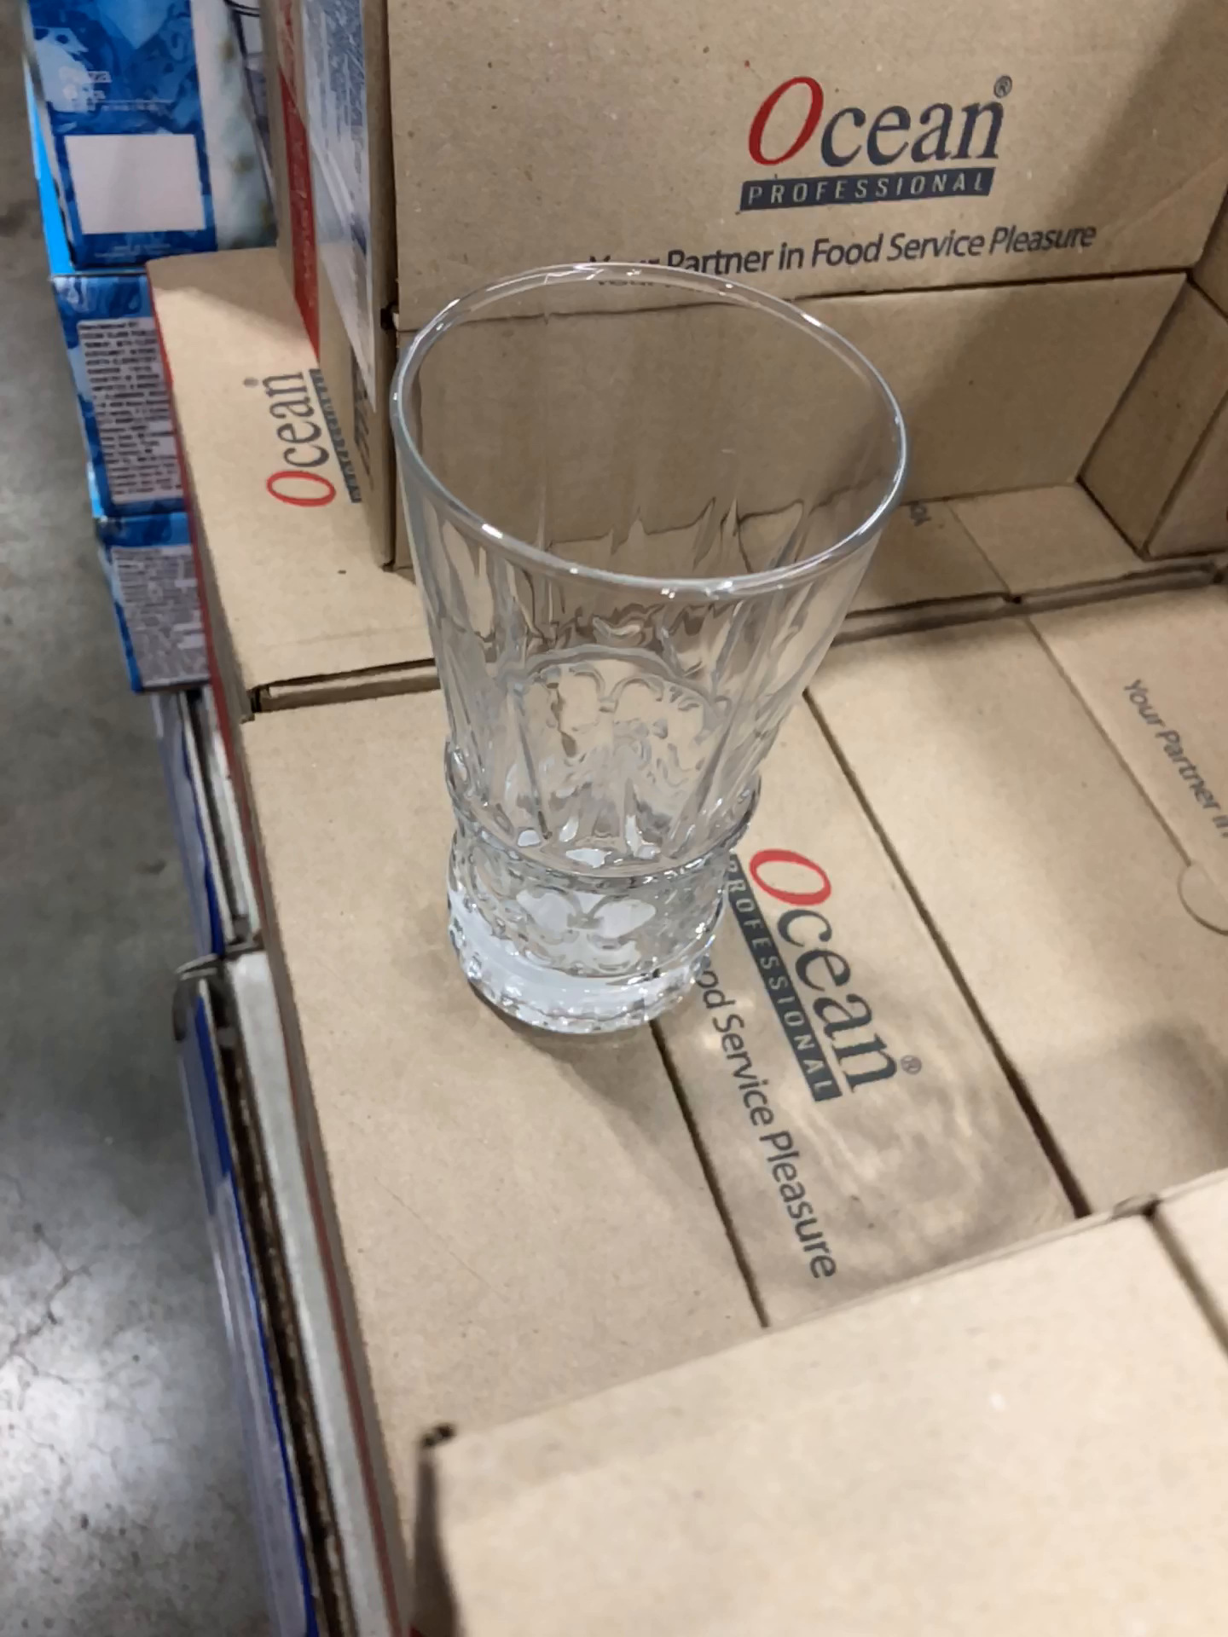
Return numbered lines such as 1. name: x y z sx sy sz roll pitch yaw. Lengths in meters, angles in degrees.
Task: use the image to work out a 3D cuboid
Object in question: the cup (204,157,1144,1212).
1. cup: 0.006 -0.022 0.251 0.100 0.130 0.100 4 51 -5
